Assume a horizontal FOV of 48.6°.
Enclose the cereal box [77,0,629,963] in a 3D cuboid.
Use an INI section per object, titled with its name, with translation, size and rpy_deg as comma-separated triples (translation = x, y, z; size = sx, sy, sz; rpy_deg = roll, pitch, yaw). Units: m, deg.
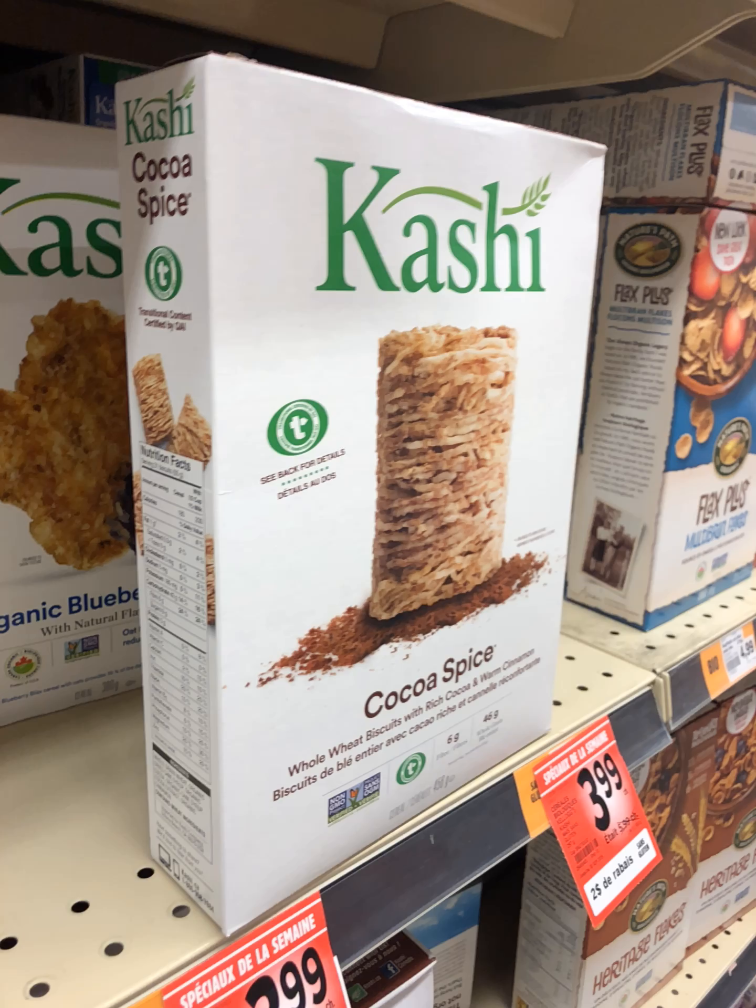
[cereal box]
translation = 0.005, -0.012, 0.328
size = 0.060, 0.279, 0.211
rpy_deg = 15, 20, 42
